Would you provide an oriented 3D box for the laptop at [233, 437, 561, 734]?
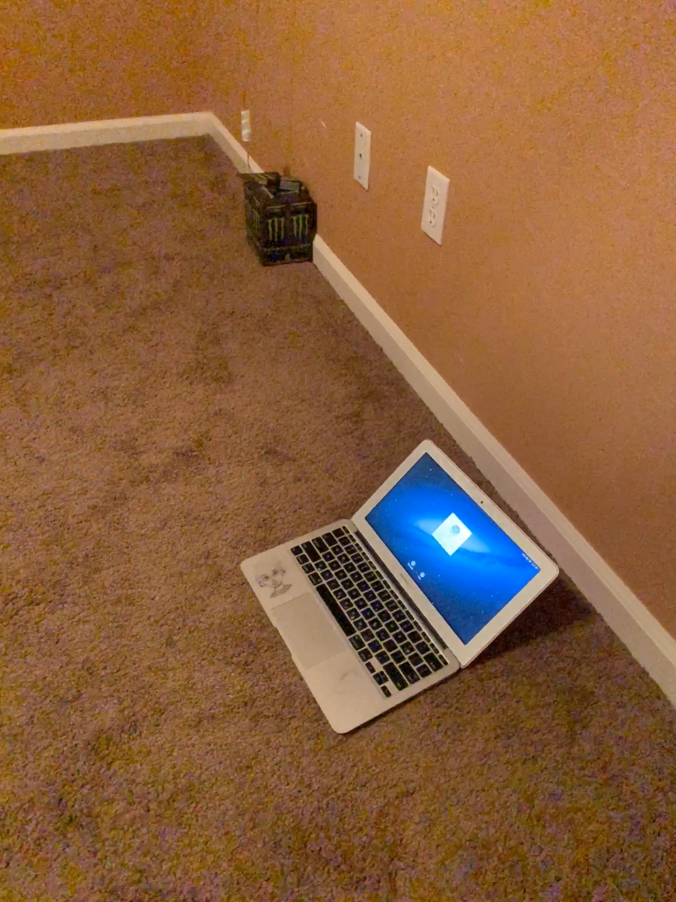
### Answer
[{"bbox_3d":[0.069,0.160,0.957,0.324,0.116,0.299,-19,46,-23],"label":"laptop"}]
